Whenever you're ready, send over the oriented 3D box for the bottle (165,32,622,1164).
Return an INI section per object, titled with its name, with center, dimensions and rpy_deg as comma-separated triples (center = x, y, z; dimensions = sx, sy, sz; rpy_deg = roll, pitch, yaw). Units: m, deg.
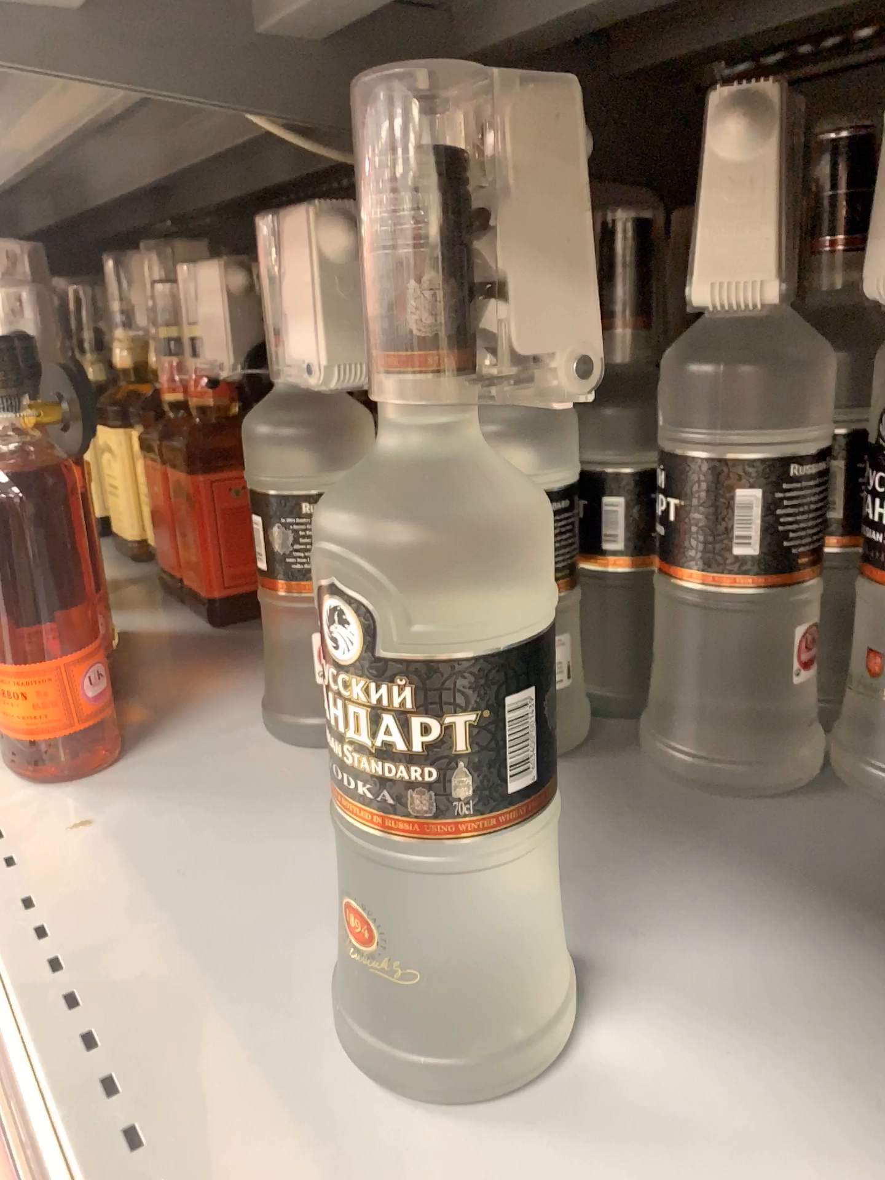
[bottle]
center = -0.010, 0.007, 0.283
dimensions = 0.088, 0.288, 0.092
rpy_deg = -3, 16, 1
